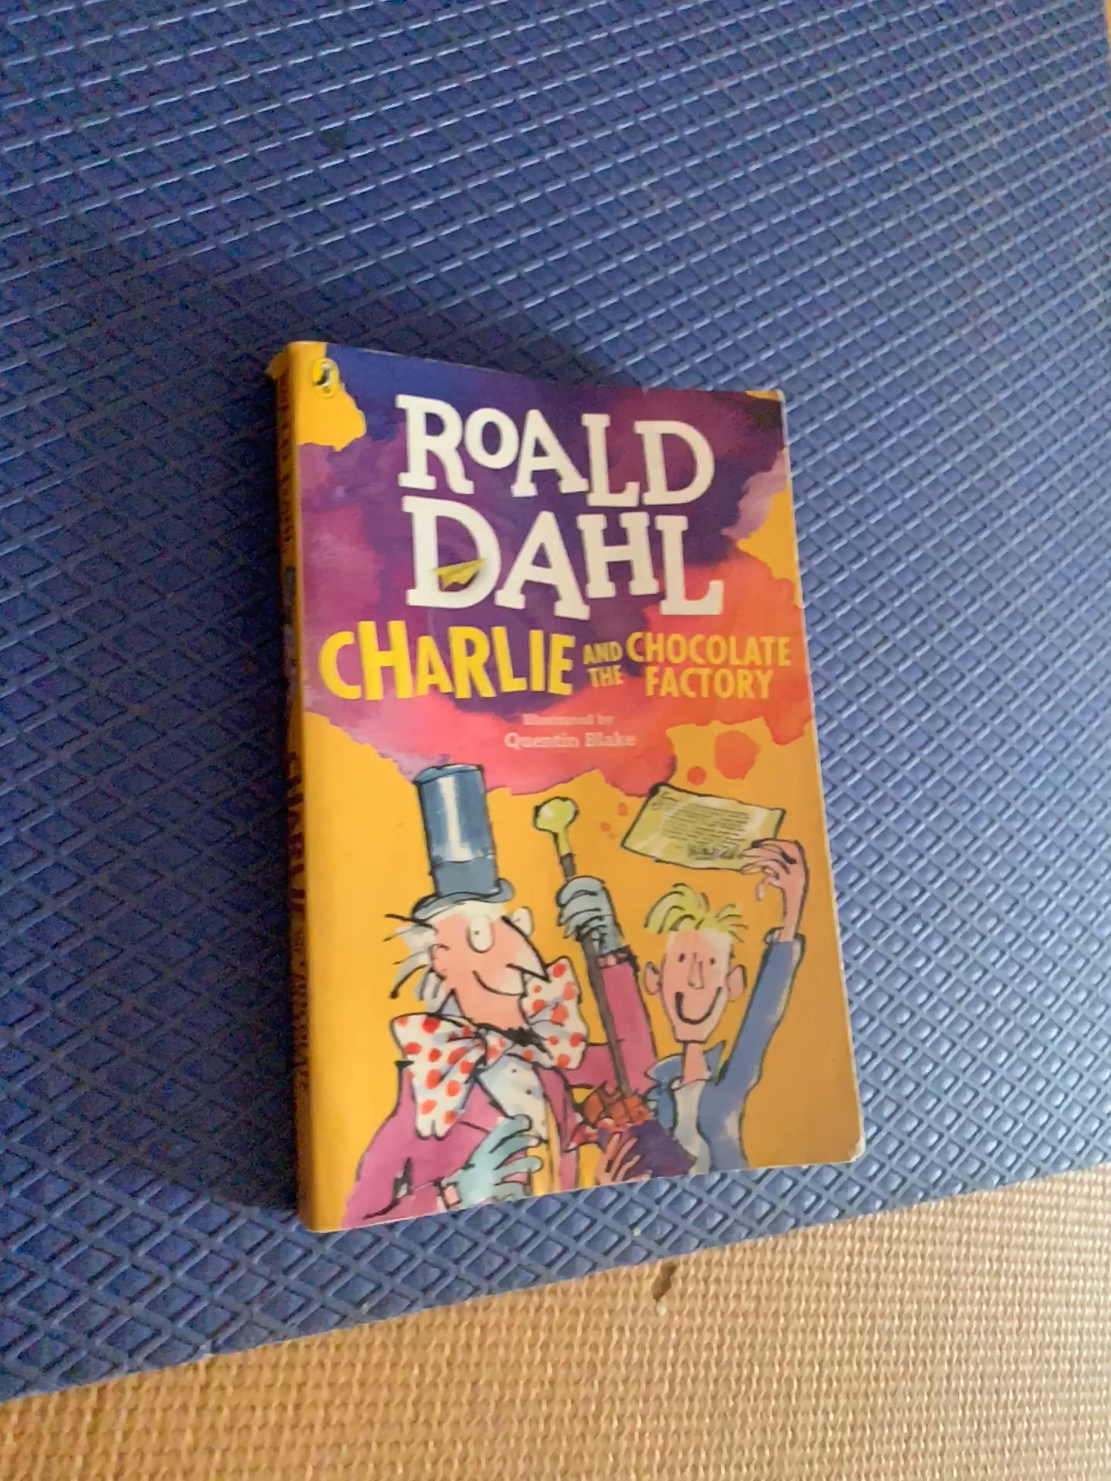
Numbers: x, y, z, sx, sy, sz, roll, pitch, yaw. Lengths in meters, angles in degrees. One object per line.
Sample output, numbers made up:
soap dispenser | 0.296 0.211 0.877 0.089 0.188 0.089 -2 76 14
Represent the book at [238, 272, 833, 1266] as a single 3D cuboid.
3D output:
book | -0.002 0.002 0.284 0.141 0.020 0.210 0 82 -27
